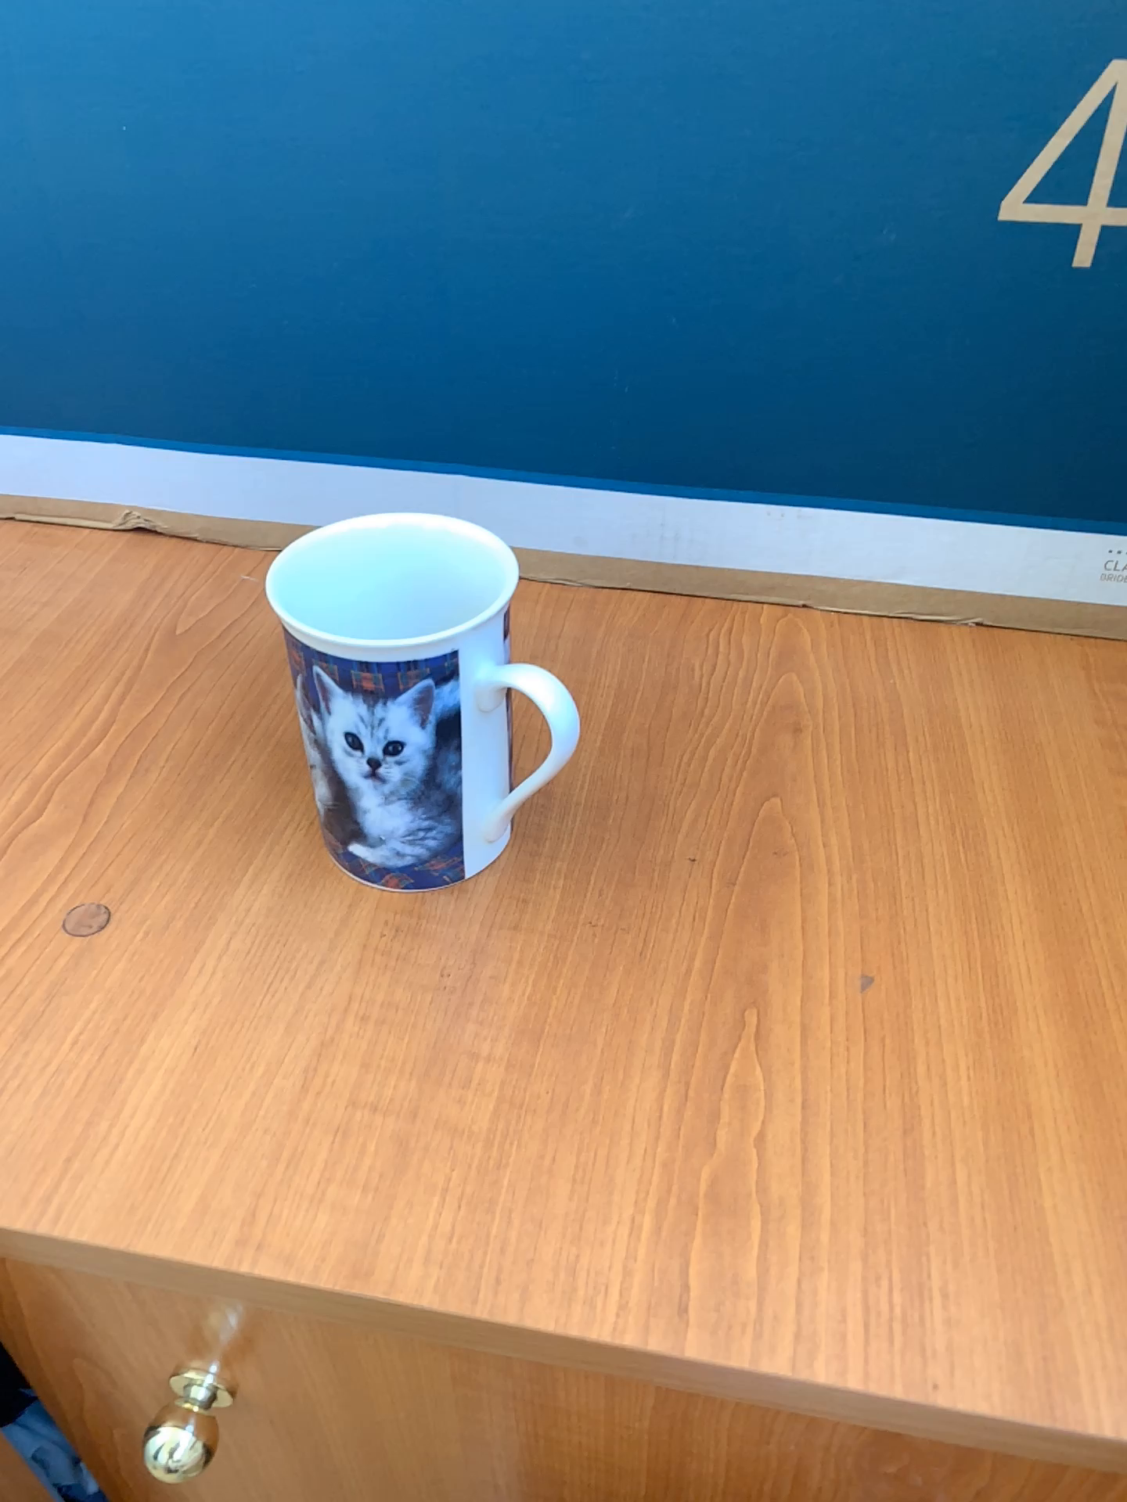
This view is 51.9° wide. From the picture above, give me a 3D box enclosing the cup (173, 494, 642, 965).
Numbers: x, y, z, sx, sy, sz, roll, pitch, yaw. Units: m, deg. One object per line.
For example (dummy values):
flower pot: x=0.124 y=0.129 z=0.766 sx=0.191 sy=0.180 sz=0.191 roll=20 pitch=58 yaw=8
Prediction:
cup: x=-0.042 y=-0.010 z=0.364 sx=0.110 sy=0.100 sz=0.080 roll=13 pitch=40 yaw=17
